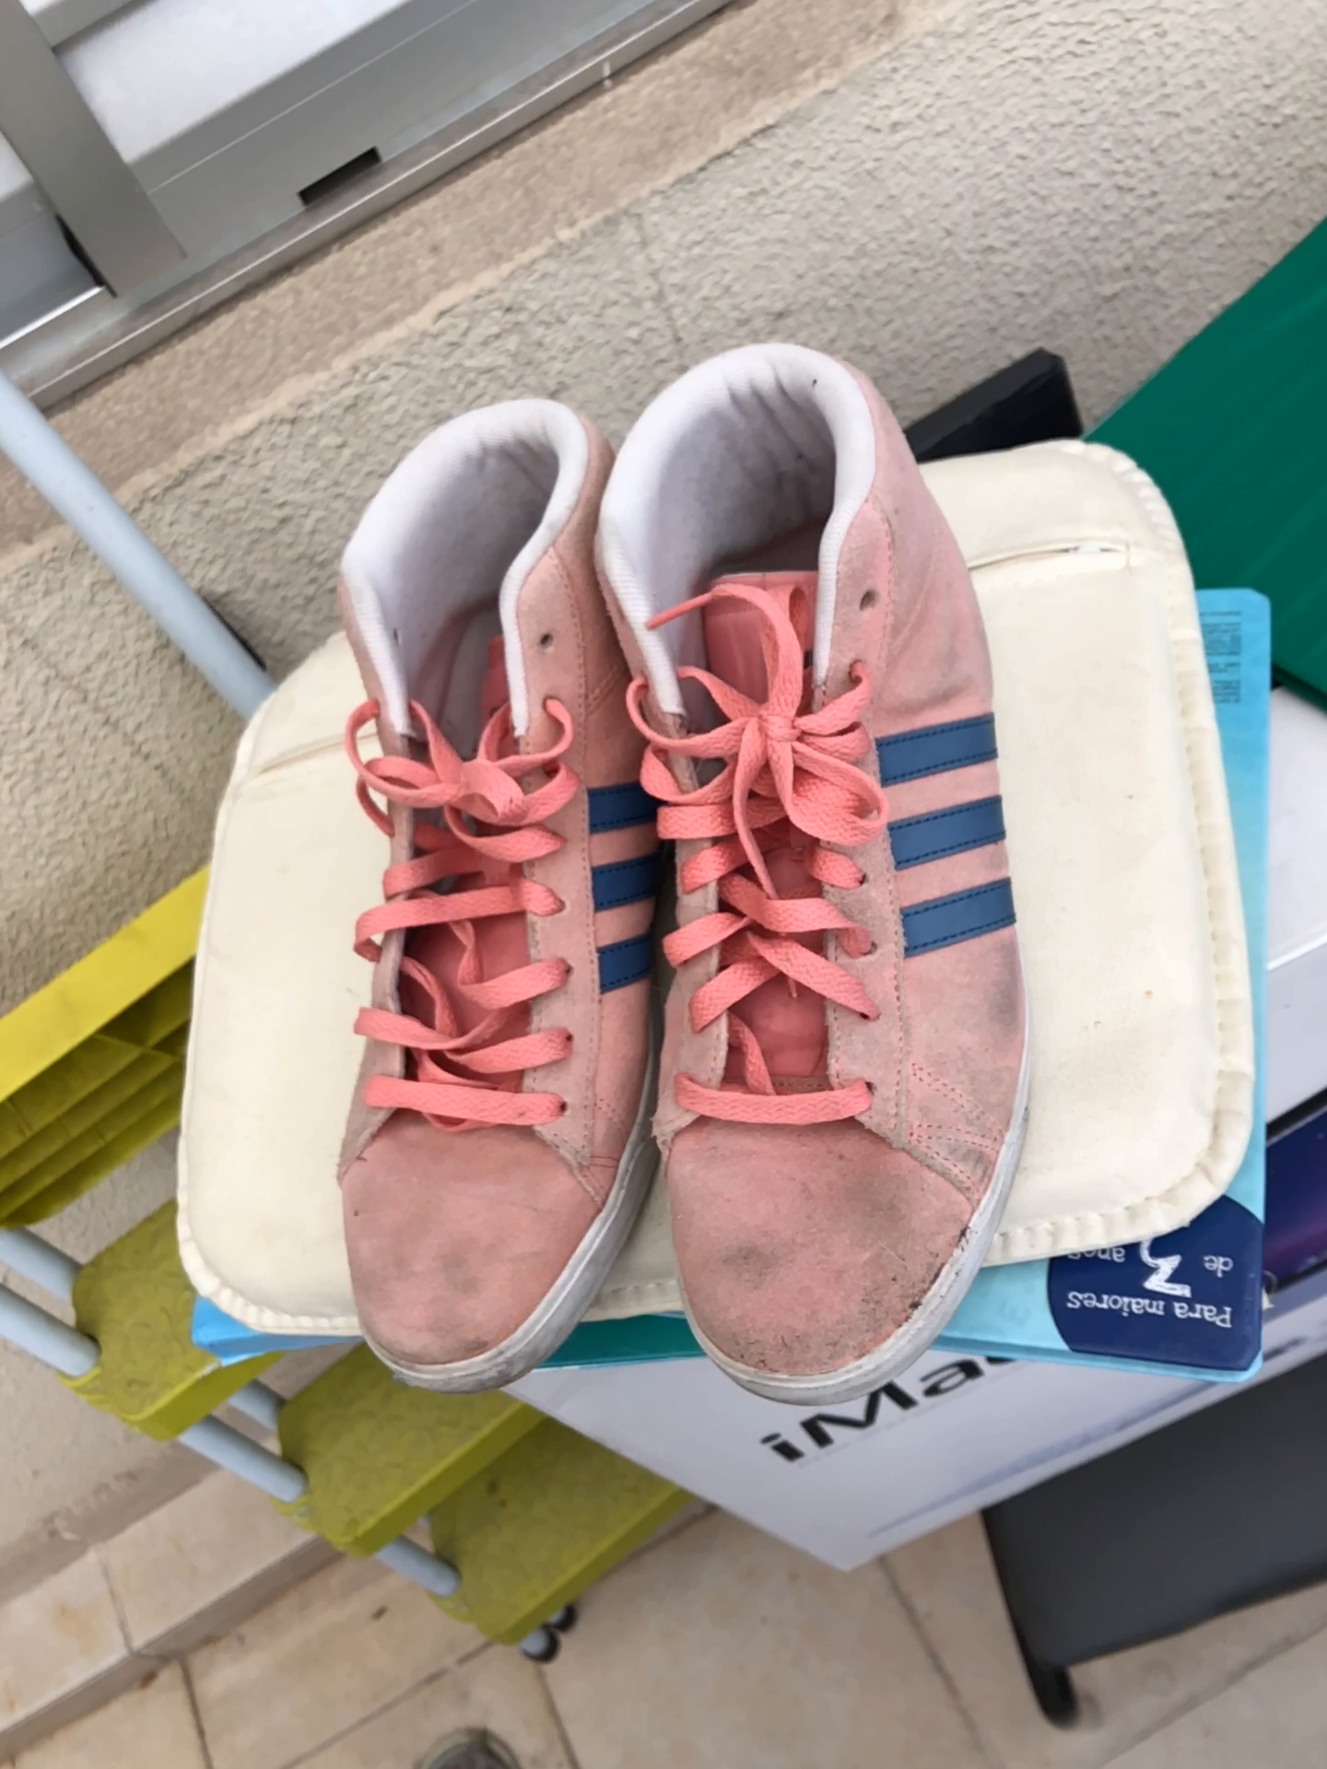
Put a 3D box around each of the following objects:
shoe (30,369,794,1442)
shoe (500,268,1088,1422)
[{"bbox_3d":[-0.044,0.003,0.402,0.100,0.129,0.251,2,61,19],"label":"shoe"},{"bbox_3d":[0.045,-0.009,0.371,0.100,0.129,0.251,-4,59,16],"label":"shoe"}]
